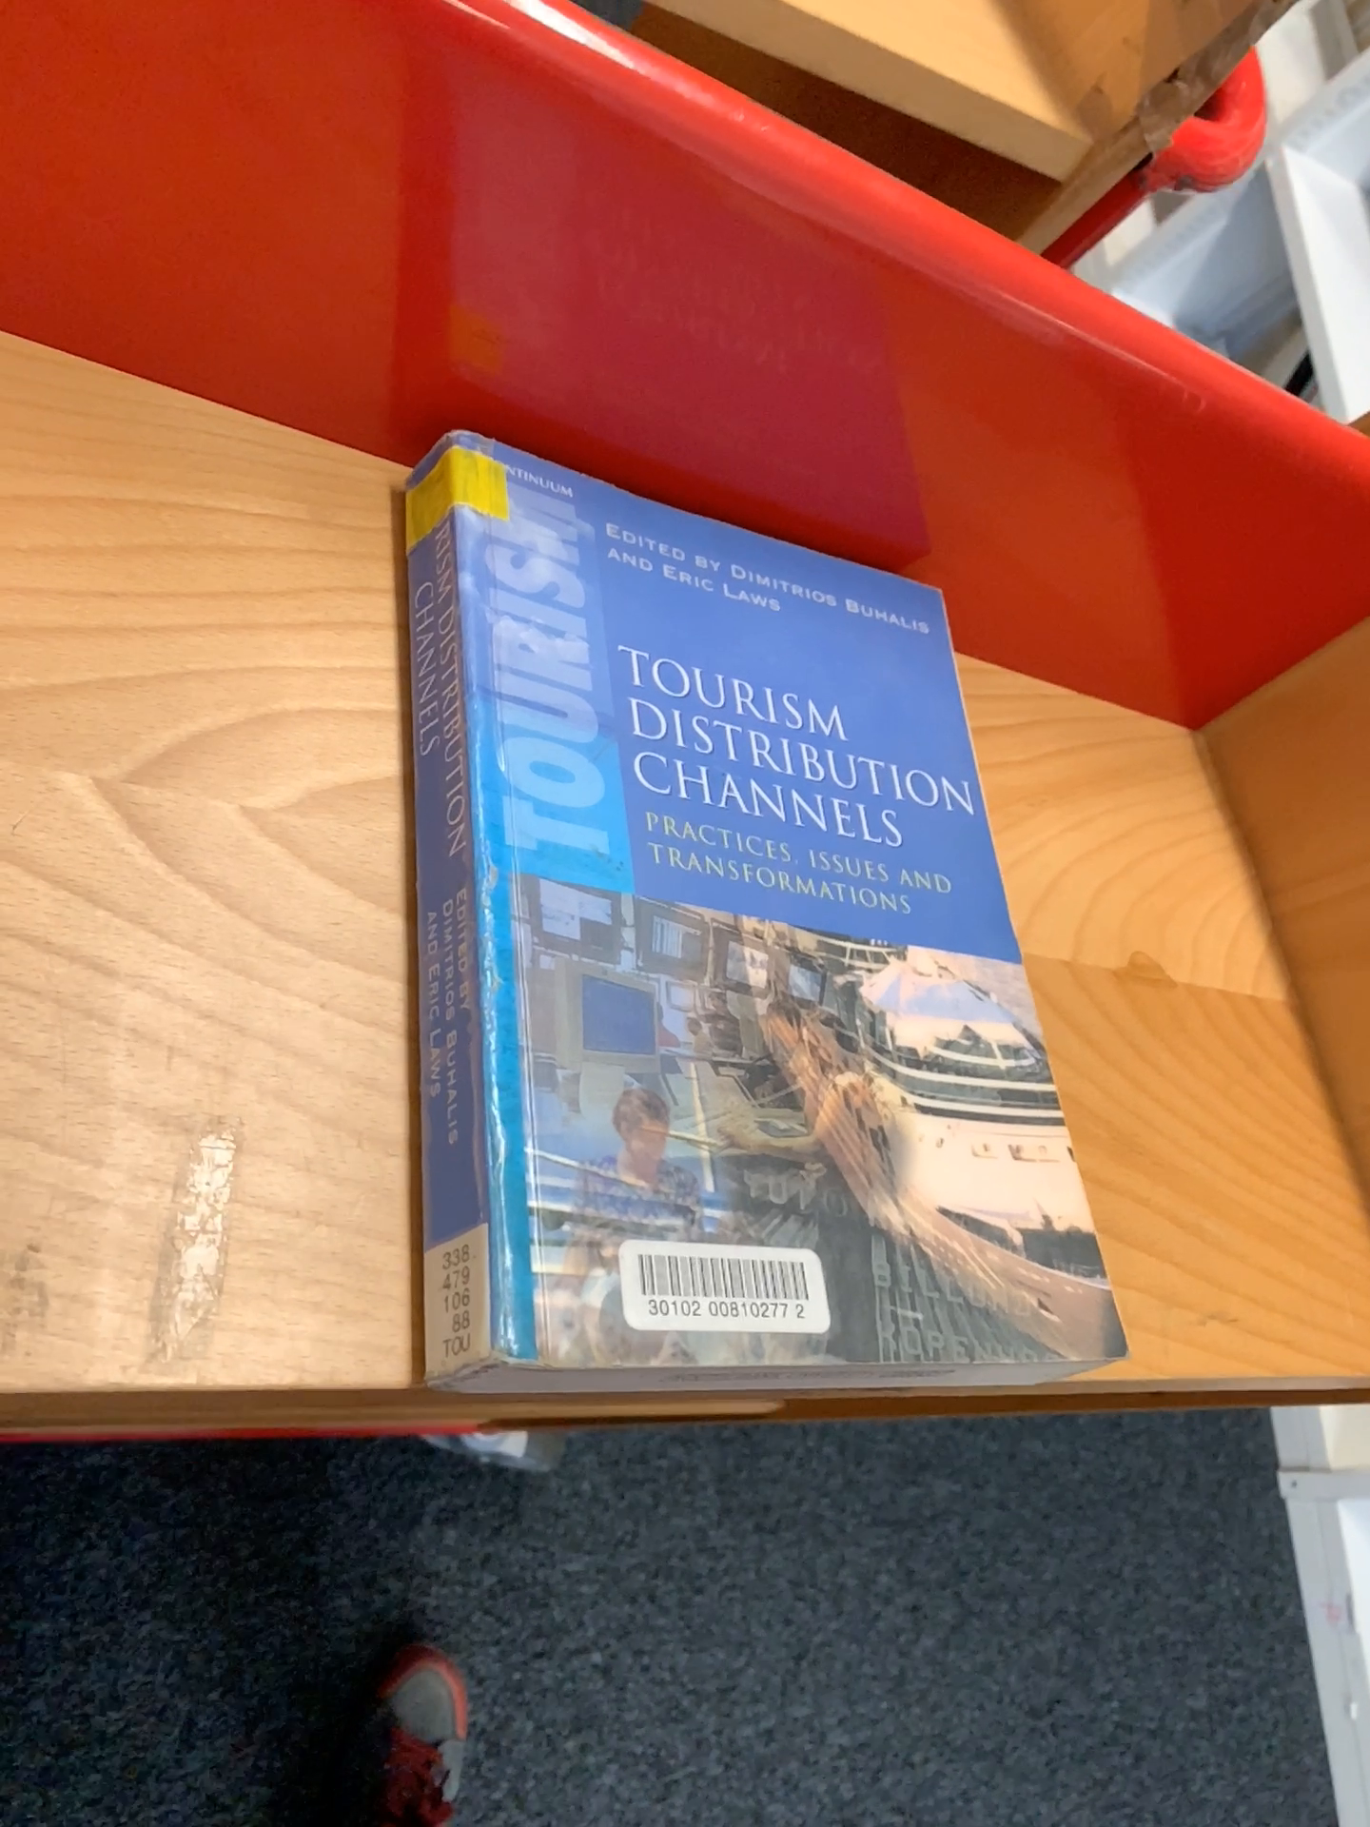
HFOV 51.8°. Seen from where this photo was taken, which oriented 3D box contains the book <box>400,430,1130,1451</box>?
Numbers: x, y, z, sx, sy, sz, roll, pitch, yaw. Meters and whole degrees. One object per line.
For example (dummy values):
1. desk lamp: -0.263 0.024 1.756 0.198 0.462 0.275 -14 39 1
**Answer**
1. book: 0.014 0.004 0.354 0.168 0.030 0.239 11 58 -31
